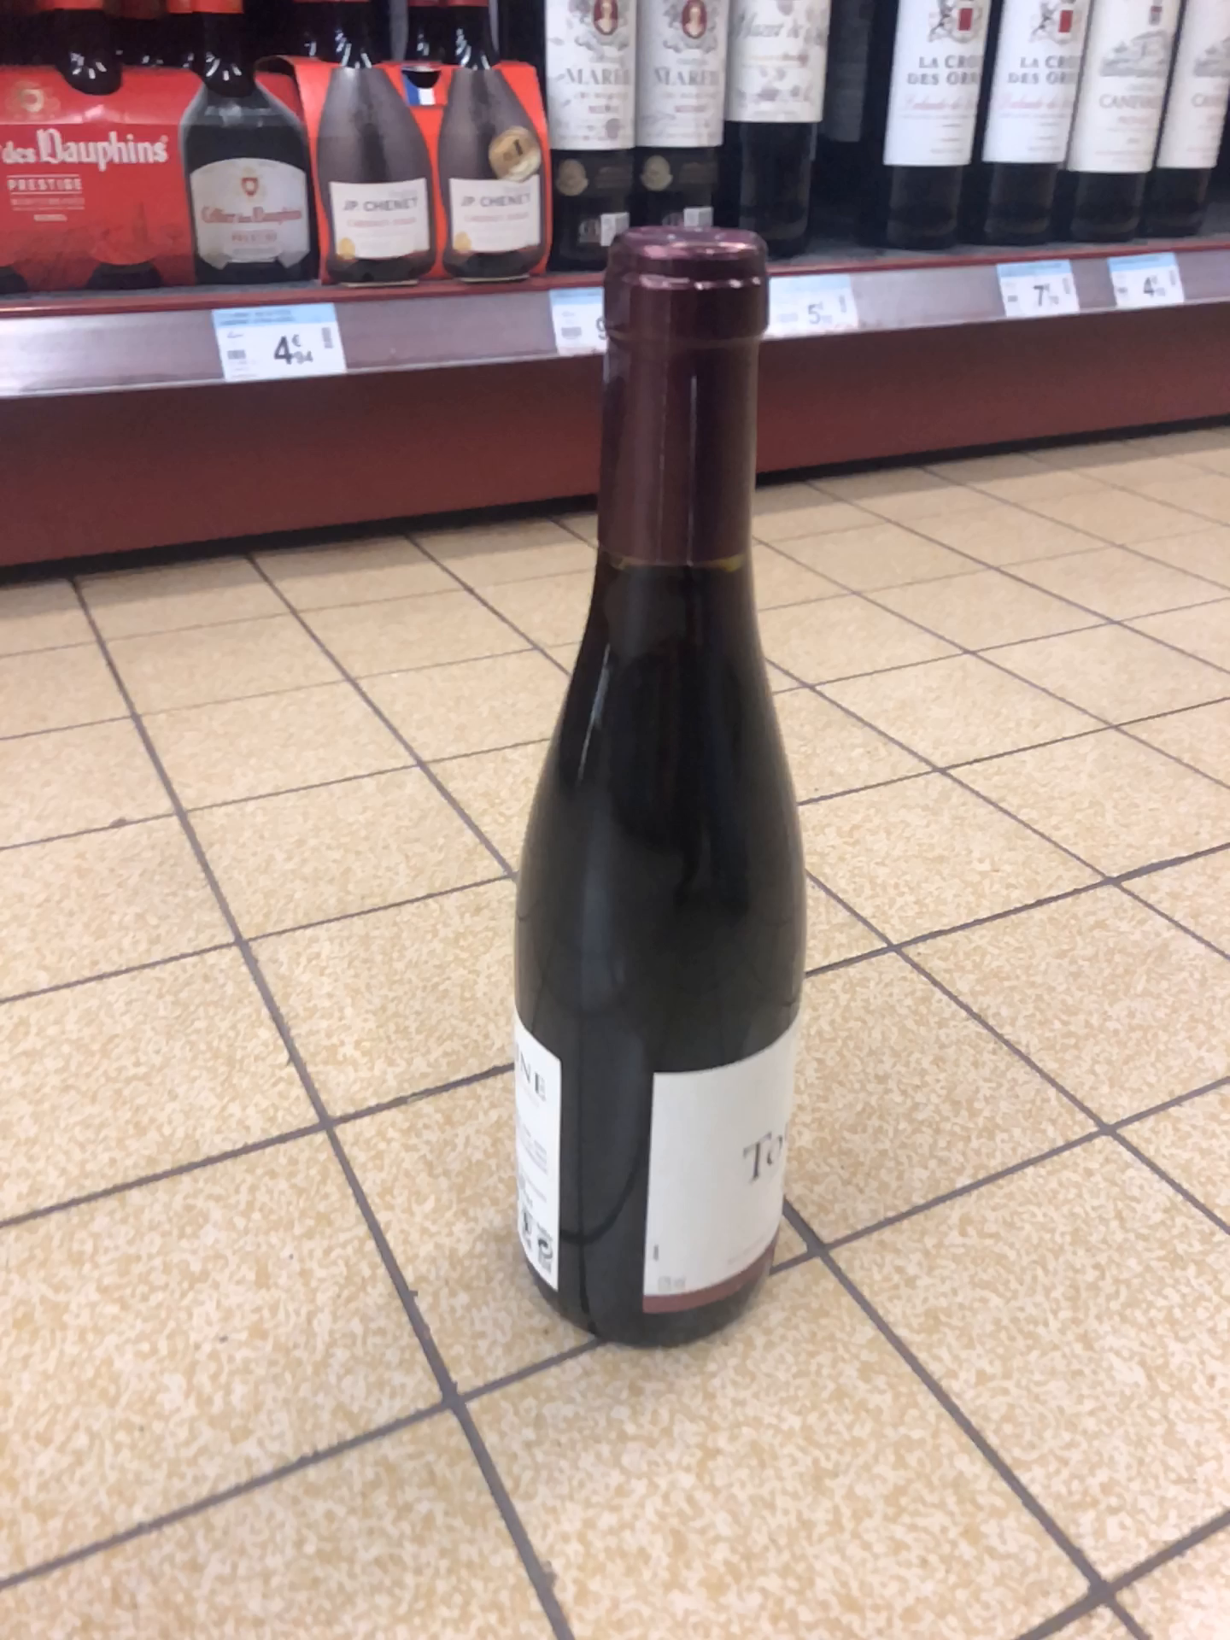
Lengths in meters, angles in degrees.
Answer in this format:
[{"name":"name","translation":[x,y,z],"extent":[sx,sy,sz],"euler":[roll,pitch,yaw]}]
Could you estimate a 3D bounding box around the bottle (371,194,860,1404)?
[{"name":"bottle","translation":[0.003,0.003,0.286],"extent":[0.070,0.239,0.081],"euler":[6,28,8]}]
